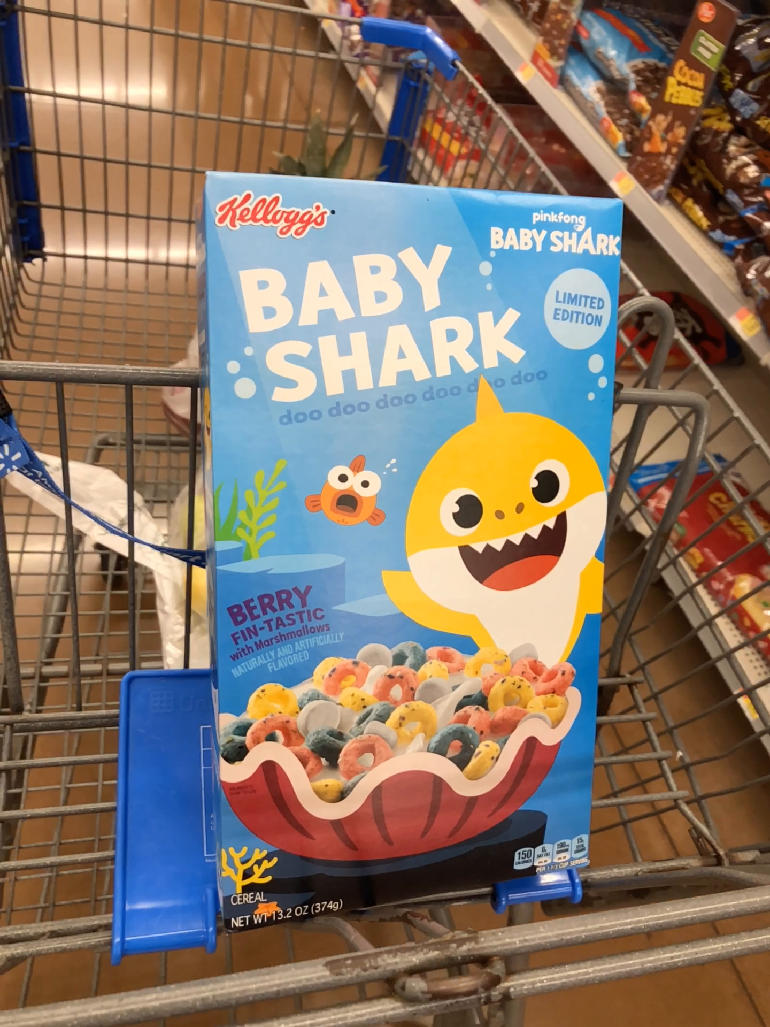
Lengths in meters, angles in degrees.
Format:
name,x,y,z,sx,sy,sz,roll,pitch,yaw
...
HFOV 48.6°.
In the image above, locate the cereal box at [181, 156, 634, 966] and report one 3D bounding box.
name,x,y,z,sx,sy,sz,roll,pitch,yaw
cereal box,0.005,0.024,0.410,0.190,0.340,0.070,-2,10,-17
